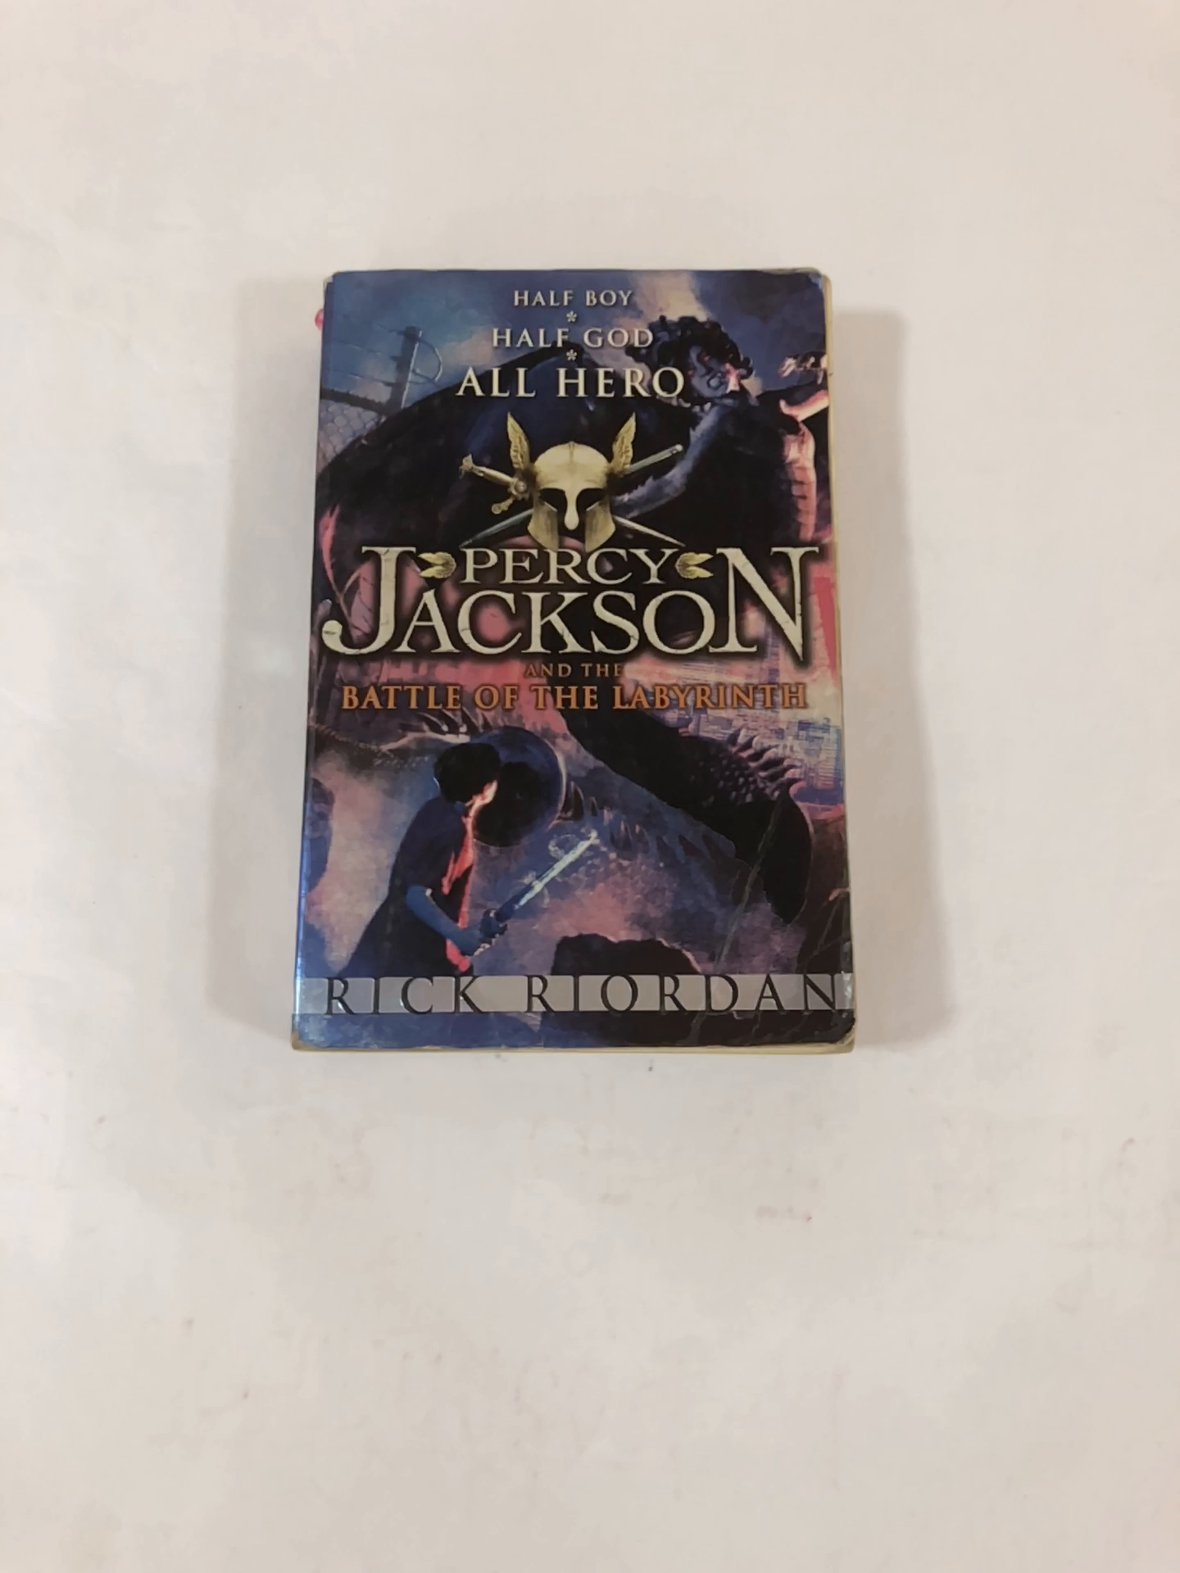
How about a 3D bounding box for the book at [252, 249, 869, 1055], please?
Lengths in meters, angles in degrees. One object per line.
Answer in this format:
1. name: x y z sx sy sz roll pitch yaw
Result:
1. book: -0.007 -0.033 0.317 0.130 0.040 0.190 0 78 -1
